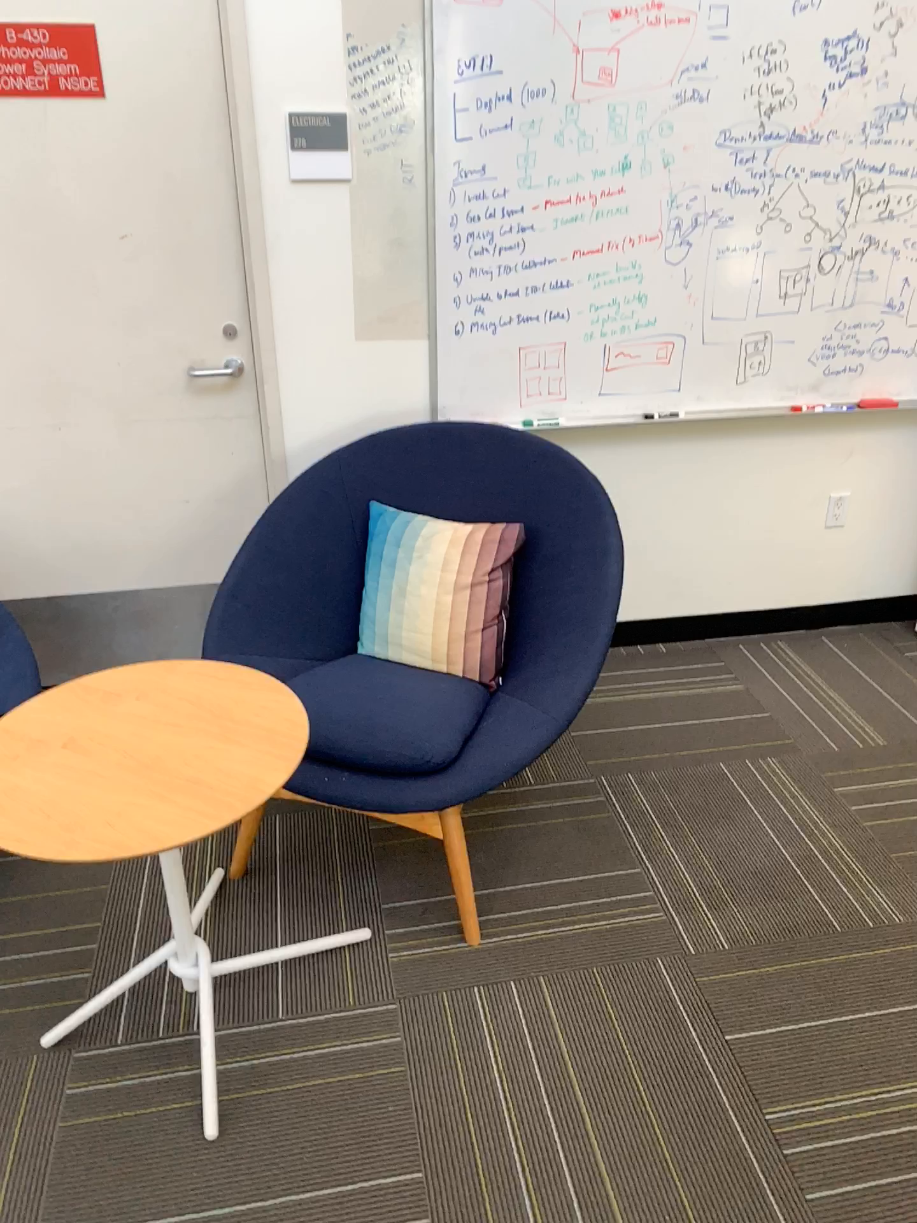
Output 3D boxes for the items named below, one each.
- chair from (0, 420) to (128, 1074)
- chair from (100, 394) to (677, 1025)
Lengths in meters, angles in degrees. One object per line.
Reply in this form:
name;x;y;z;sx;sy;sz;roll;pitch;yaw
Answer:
chair;-1.345;0.171;1.901;0.842;0.835;0.793;13;30;25
chair;-0.091;0.113;2.215;0.832;0.944;0.983;15;31;27
